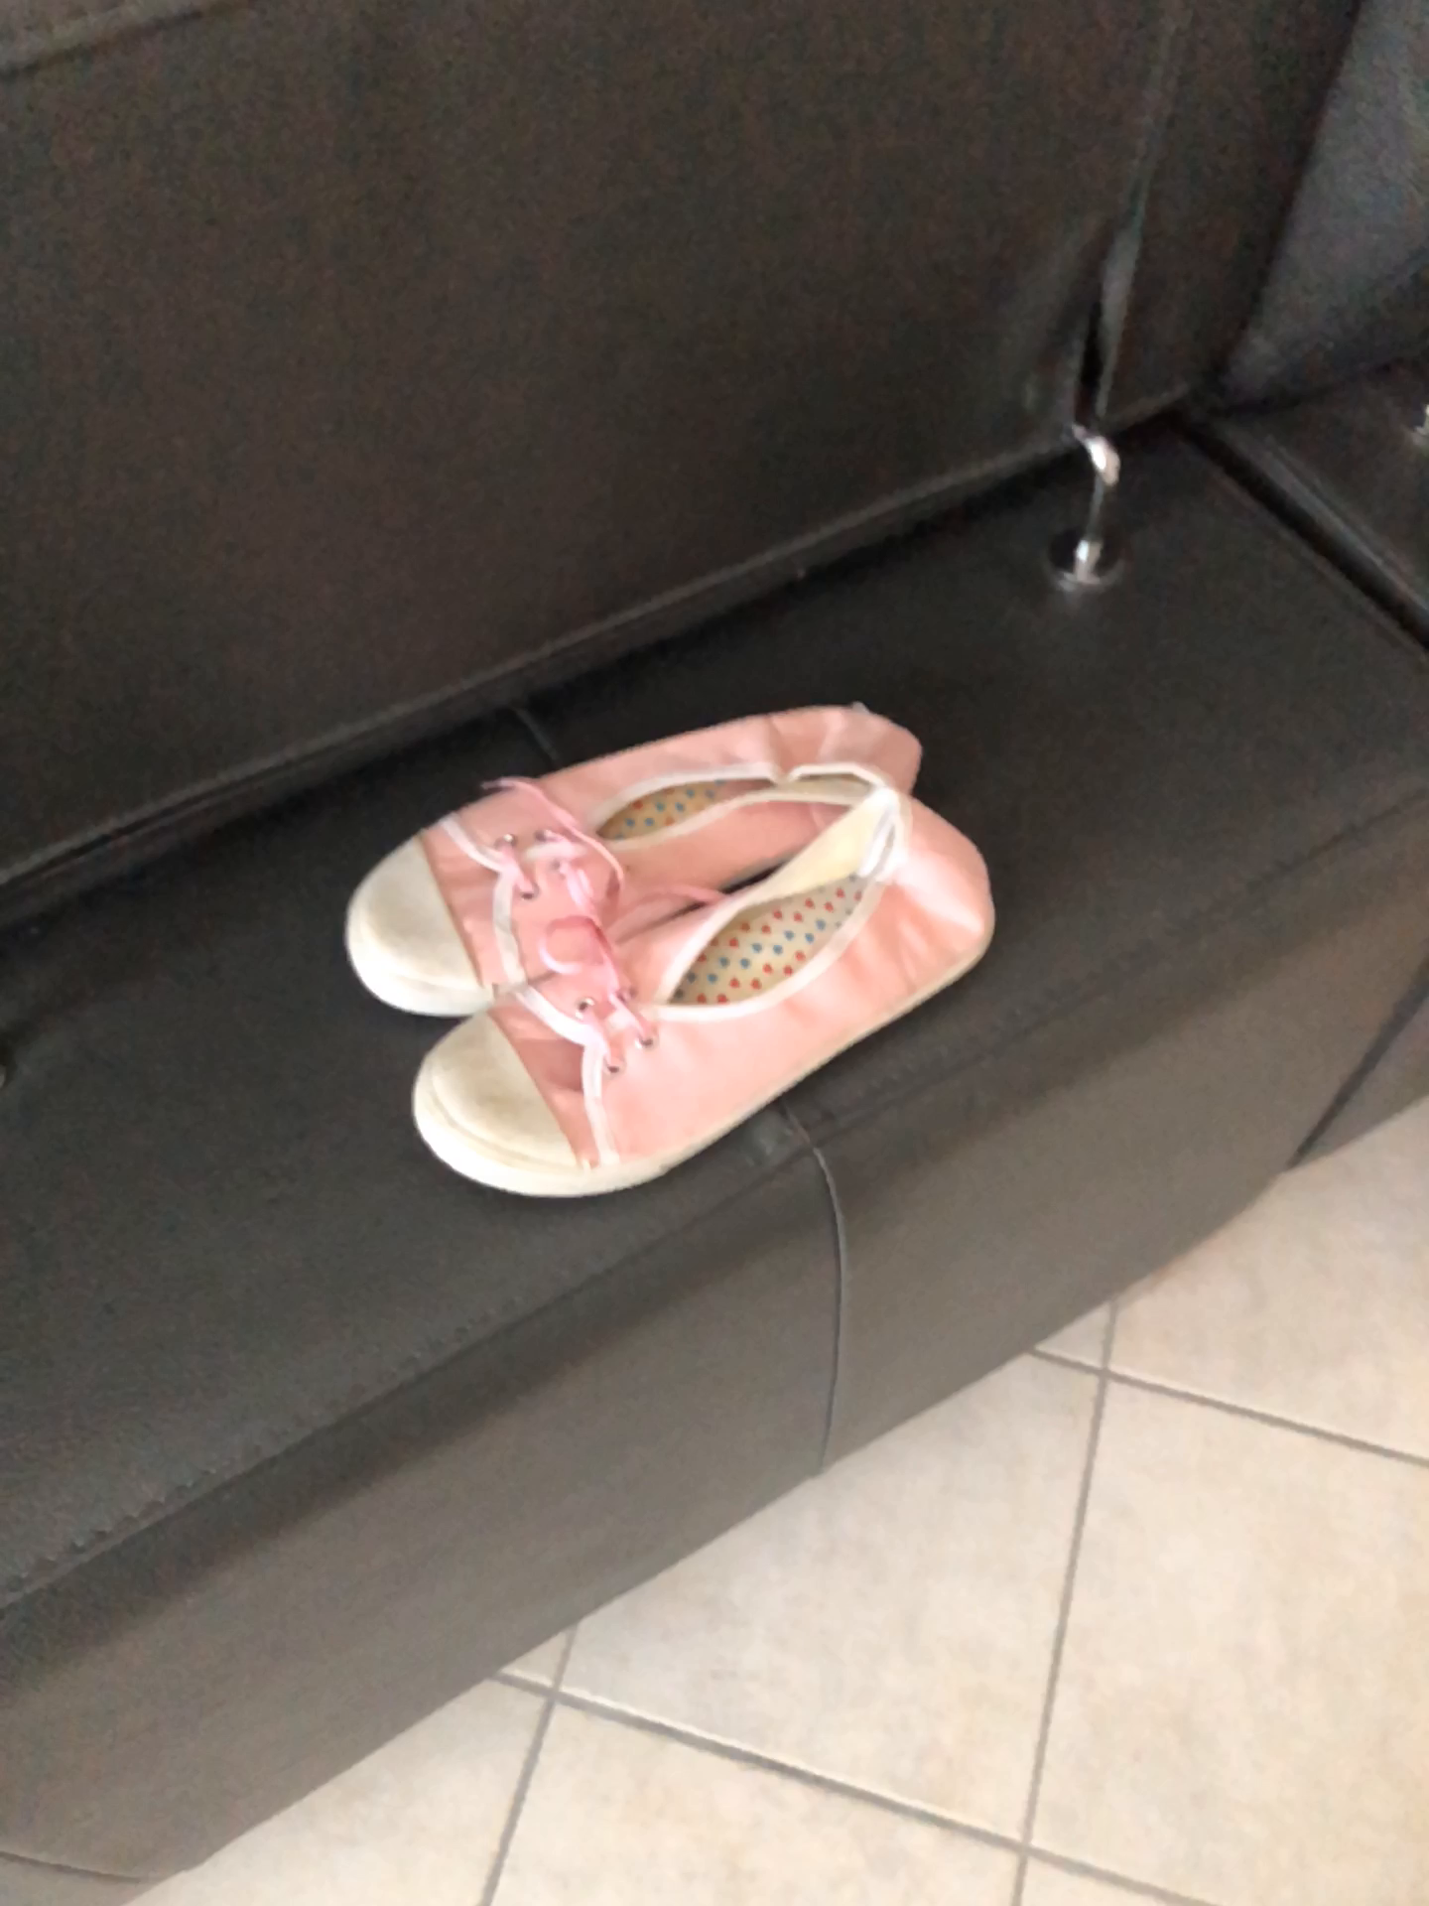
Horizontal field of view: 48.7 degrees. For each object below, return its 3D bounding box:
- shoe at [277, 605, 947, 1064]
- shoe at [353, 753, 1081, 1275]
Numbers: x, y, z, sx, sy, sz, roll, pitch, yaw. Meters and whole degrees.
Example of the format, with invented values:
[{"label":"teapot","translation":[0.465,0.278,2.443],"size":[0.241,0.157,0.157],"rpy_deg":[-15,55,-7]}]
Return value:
[{"label":"shoe","translation":[-0.037,-0.052,0.618],"size":[0.241,0.040,0.090],"rpy_deg":[-25,61,-15]},{"label":"shoe","translation":[0.003,0.016,0.568],"size":[0.241,0.040,0.090],"rpy_deg":[-25,61,-15]}]
